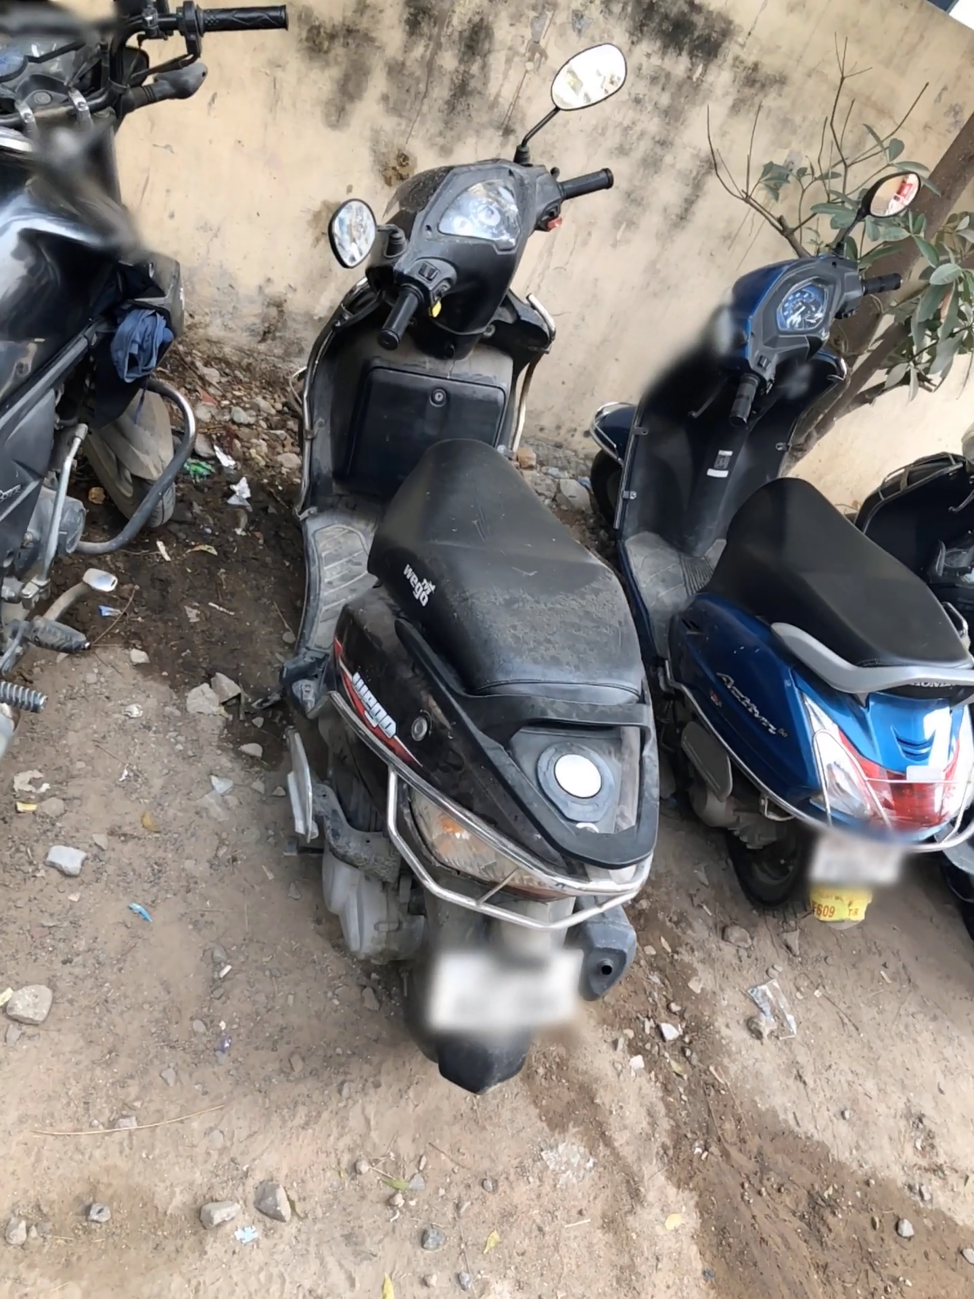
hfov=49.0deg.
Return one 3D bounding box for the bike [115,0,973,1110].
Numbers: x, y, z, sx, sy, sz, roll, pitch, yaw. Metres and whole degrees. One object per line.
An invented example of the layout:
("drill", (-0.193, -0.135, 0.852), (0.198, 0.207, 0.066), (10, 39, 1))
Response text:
("bike", (-0.166, -0.352, 1.738), (0.528, 1.114, 1.567), (8, 40, -30))
